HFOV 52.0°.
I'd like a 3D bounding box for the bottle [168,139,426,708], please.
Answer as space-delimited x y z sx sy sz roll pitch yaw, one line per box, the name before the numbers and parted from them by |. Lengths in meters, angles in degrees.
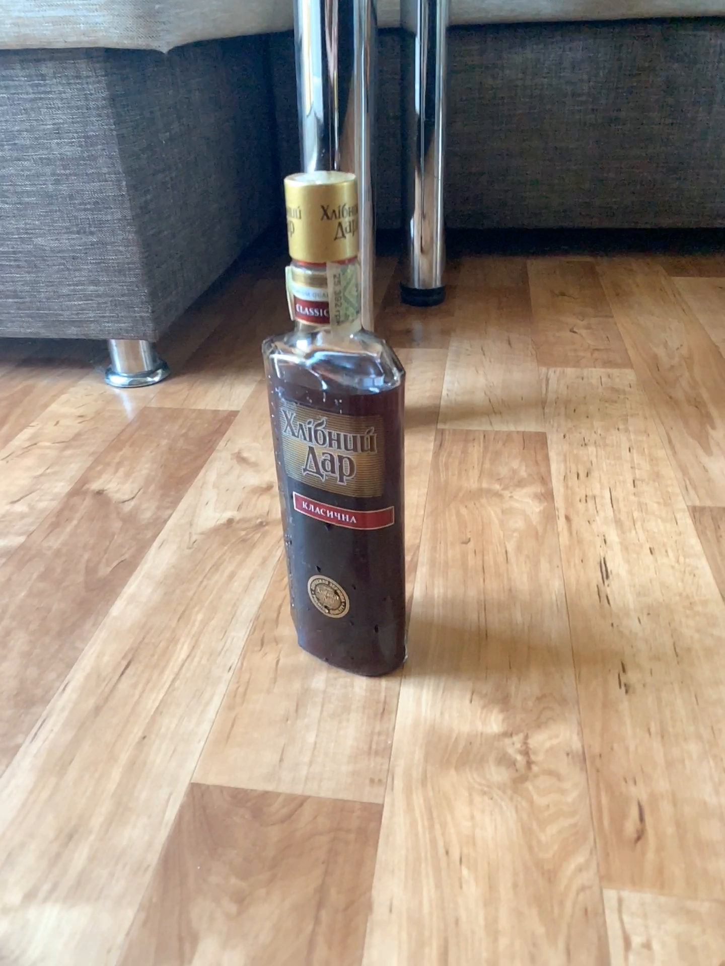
bottle | -0.022 -0.020 0.337 0.050 0.239 0.090 -27 39 -35
